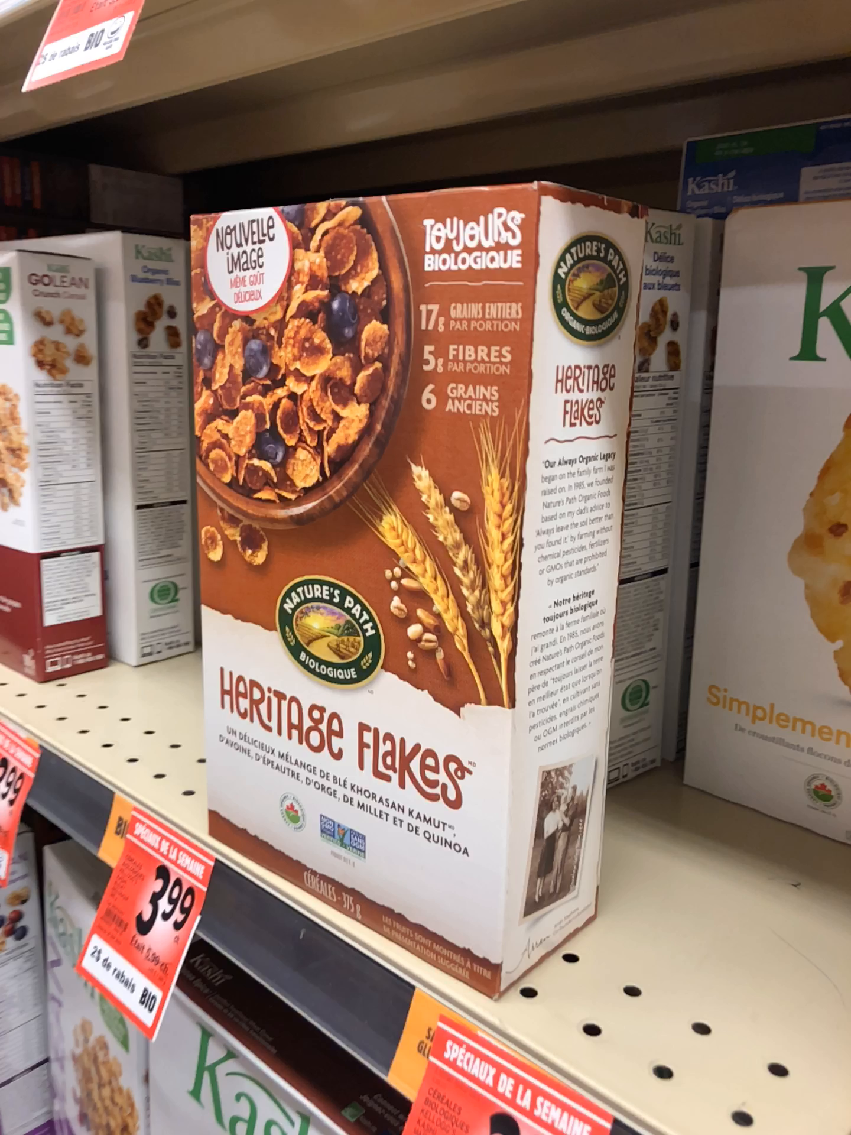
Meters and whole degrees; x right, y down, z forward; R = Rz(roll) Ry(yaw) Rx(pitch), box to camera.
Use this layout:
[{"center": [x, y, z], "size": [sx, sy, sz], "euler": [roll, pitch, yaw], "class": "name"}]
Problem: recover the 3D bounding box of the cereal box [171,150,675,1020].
[{"center": [-0.010, -0.002, 0.351], "size": [0.170, 0.259, 0.070], "euler": [12, 18, 41], "class": "cereal box"}]
